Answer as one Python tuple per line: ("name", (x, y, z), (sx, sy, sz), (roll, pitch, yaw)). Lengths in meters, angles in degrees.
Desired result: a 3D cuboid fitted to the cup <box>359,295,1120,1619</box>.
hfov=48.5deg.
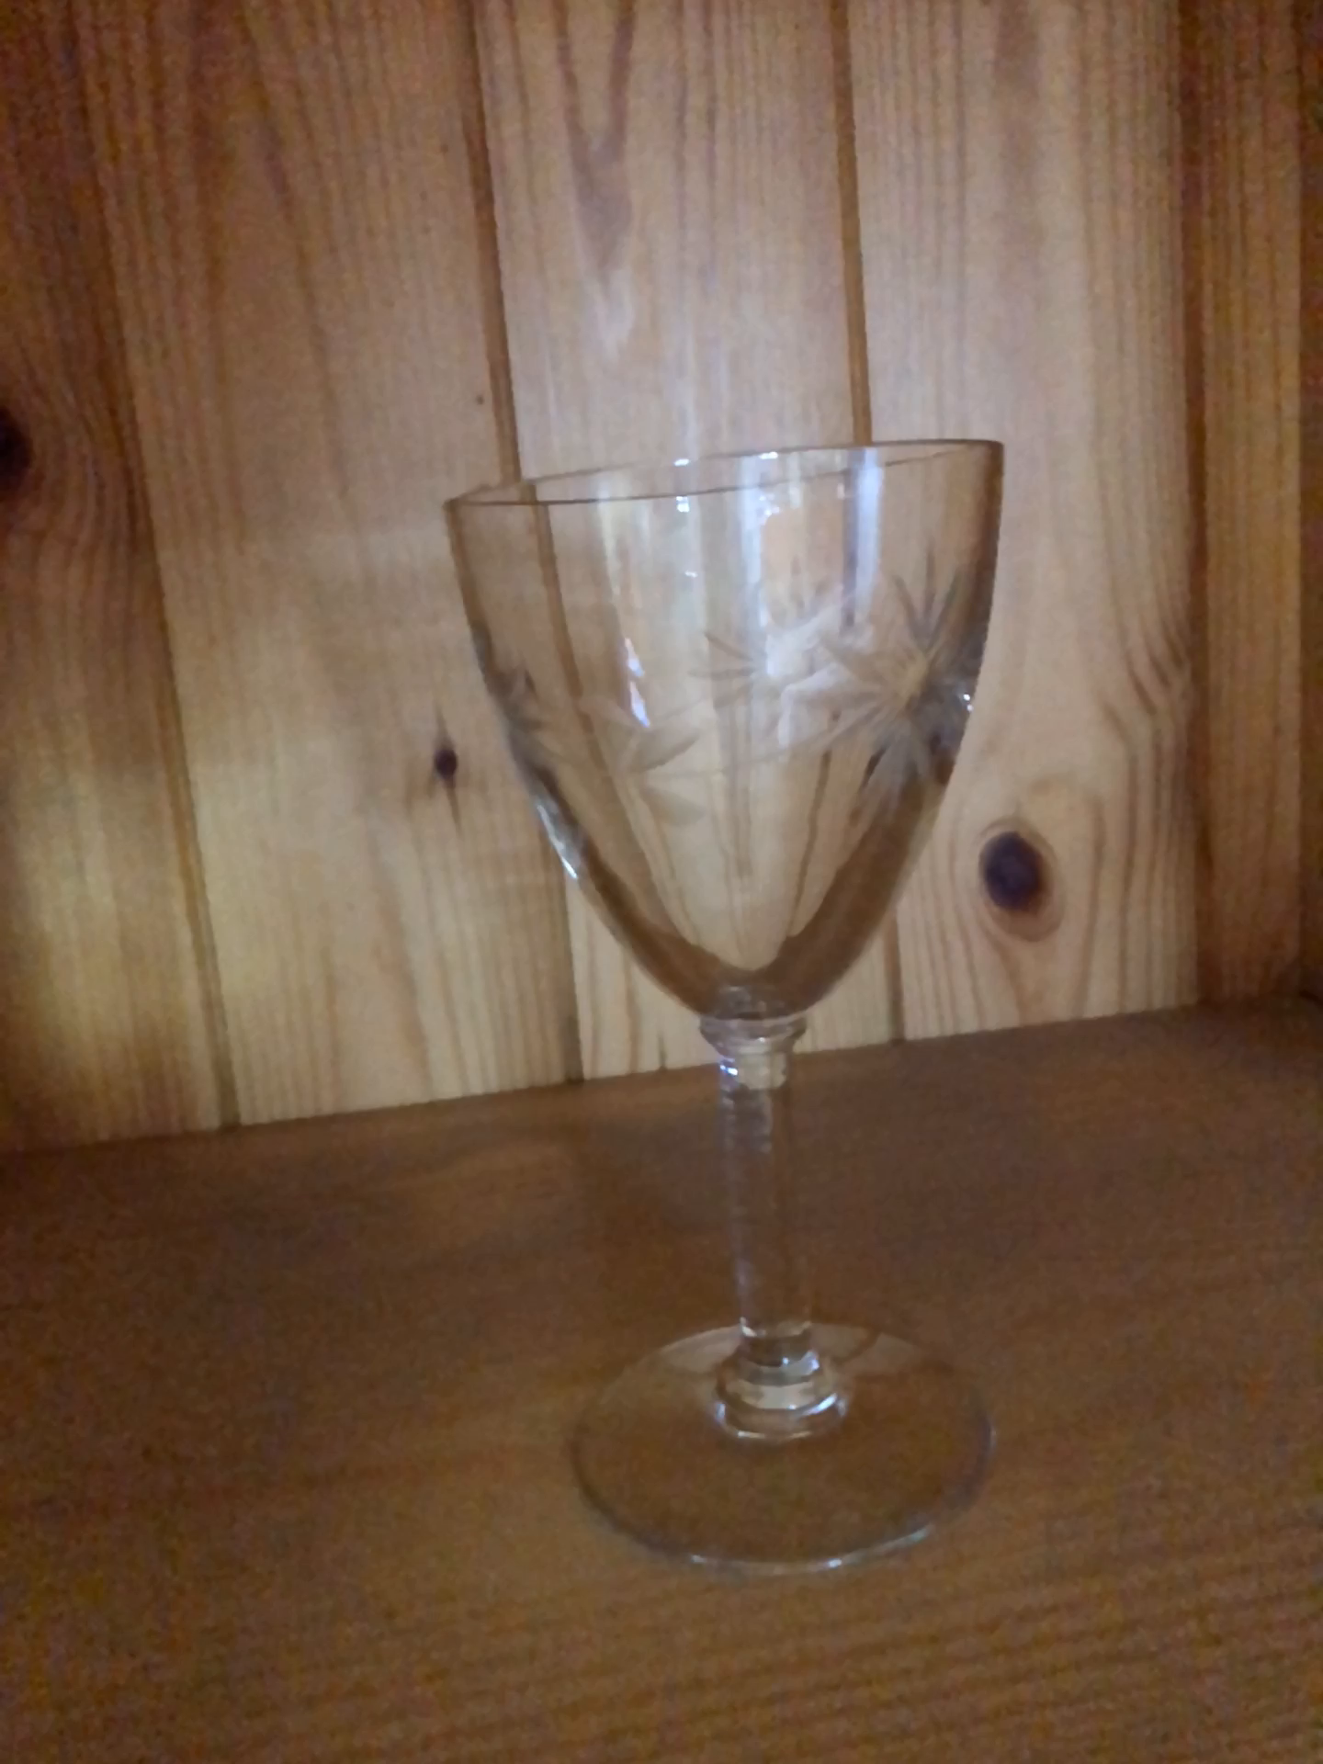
("cup", (0.013, 0.008, 0.189), (0.070, 0.140, 0.070), (-5, 11, 1))
